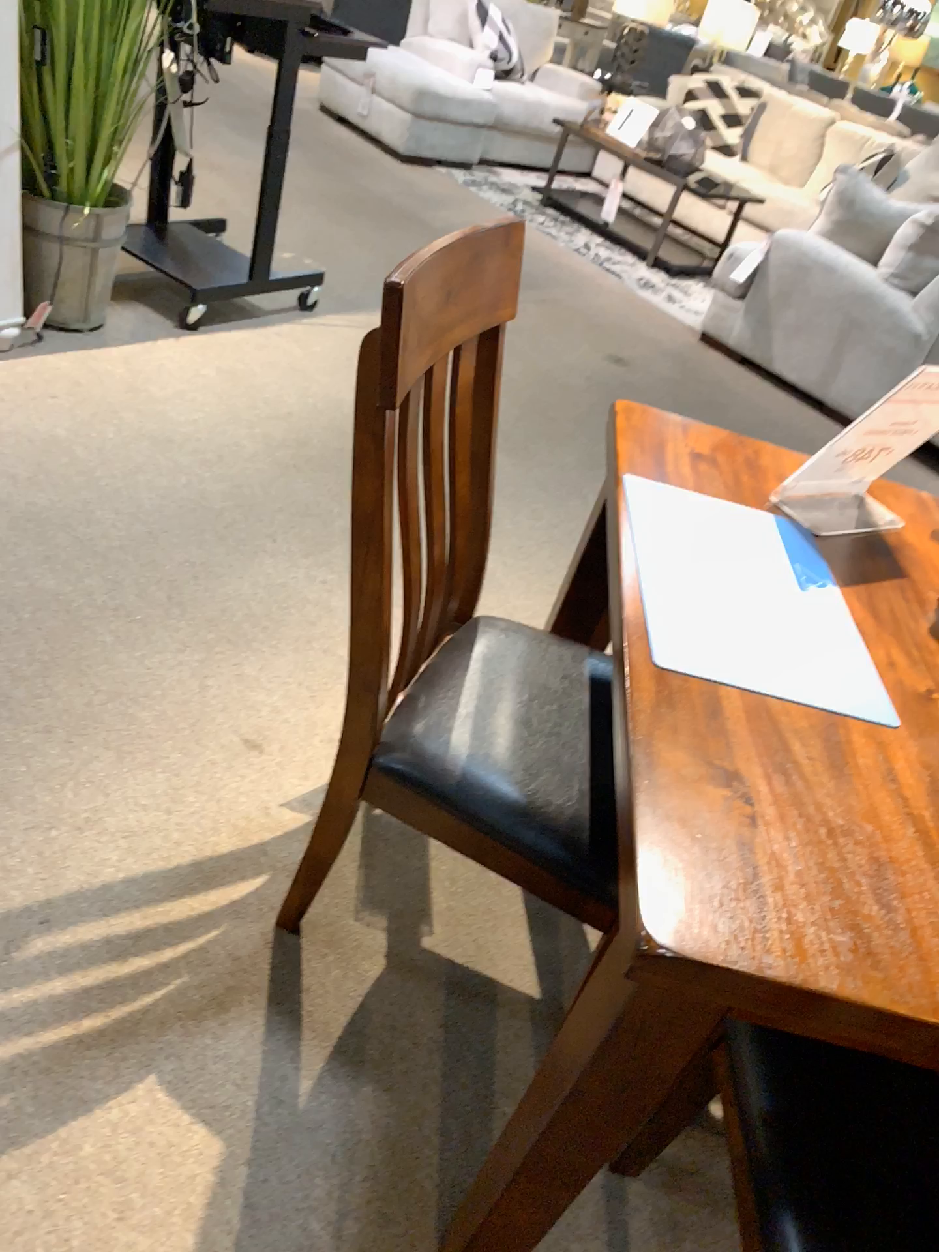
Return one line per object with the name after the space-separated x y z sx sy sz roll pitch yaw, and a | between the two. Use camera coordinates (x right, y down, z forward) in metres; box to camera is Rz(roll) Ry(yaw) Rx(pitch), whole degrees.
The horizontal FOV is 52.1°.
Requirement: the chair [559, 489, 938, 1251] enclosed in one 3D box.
0.501 0.465 0.836 0.591 0.890 0.532 15 35 -5 | chair

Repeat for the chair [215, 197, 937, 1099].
0.101 0.027 1.248 0.539 0.890 0.534 25 35 10 | chair
